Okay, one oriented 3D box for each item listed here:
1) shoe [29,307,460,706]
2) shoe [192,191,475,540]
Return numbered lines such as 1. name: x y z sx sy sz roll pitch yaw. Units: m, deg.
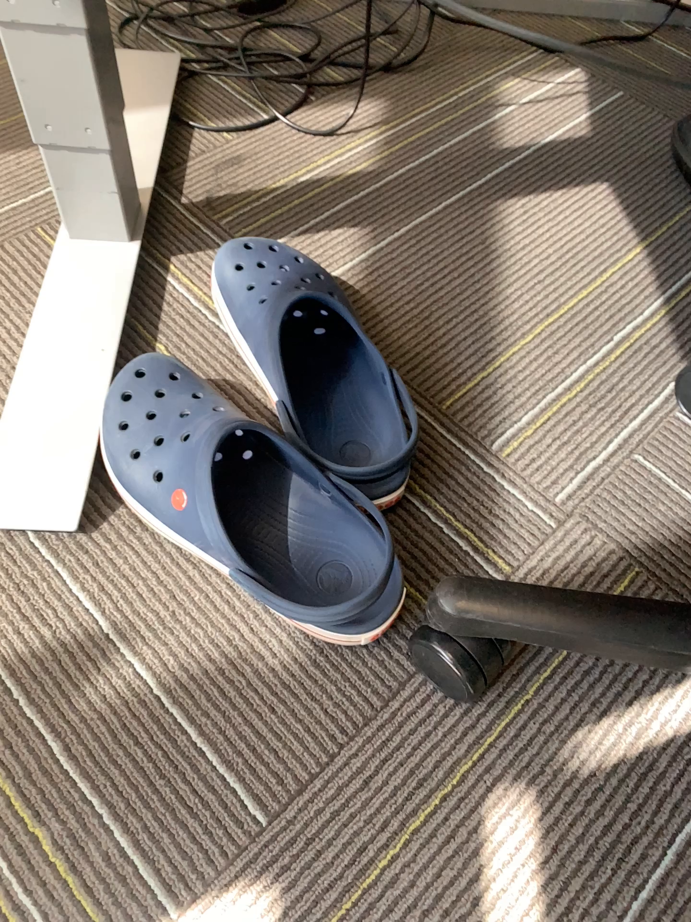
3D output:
1. shoe: -0.086 0.024 0.575 0.330 0.080 0.130 38 63 17
2. shoe: -0.024 -0.102 0.656 0.130 0.080 0.321 -19 62 -16
